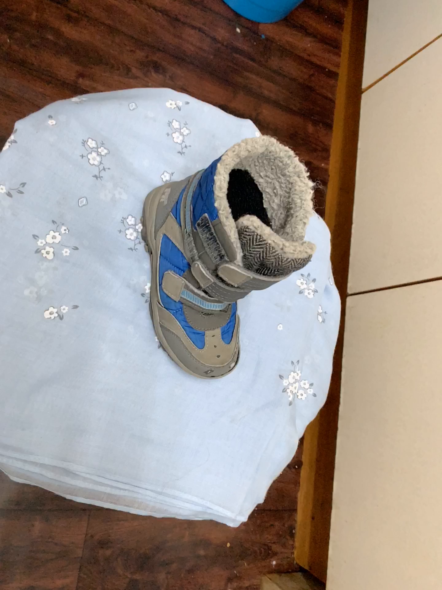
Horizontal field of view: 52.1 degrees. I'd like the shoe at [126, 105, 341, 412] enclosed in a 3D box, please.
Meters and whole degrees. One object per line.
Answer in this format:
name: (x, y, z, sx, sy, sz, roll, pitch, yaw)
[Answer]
shoe: (-0.003, -0.020, 0.381, 0.090, 0.159, 0.200, -6, 86, -27)
